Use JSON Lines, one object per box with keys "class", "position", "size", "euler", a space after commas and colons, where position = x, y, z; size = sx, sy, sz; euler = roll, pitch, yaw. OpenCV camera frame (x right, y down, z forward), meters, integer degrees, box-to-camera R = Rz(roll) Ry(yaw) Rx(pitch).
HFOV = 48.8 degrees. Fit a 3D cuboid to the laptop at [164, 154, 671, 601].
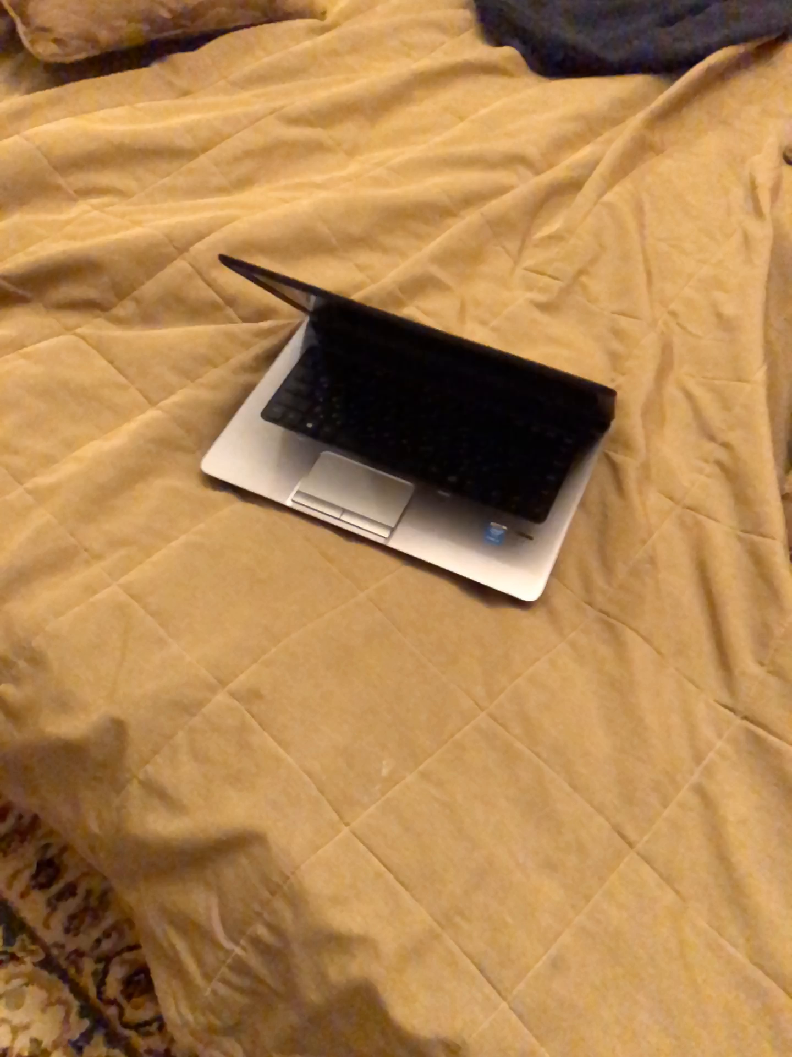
{"class": "laptop", "position": [0.020, -0.133, 0.756], "size": [0.331, 0.189, 0.226], "euler": [21, 58, 10]}
